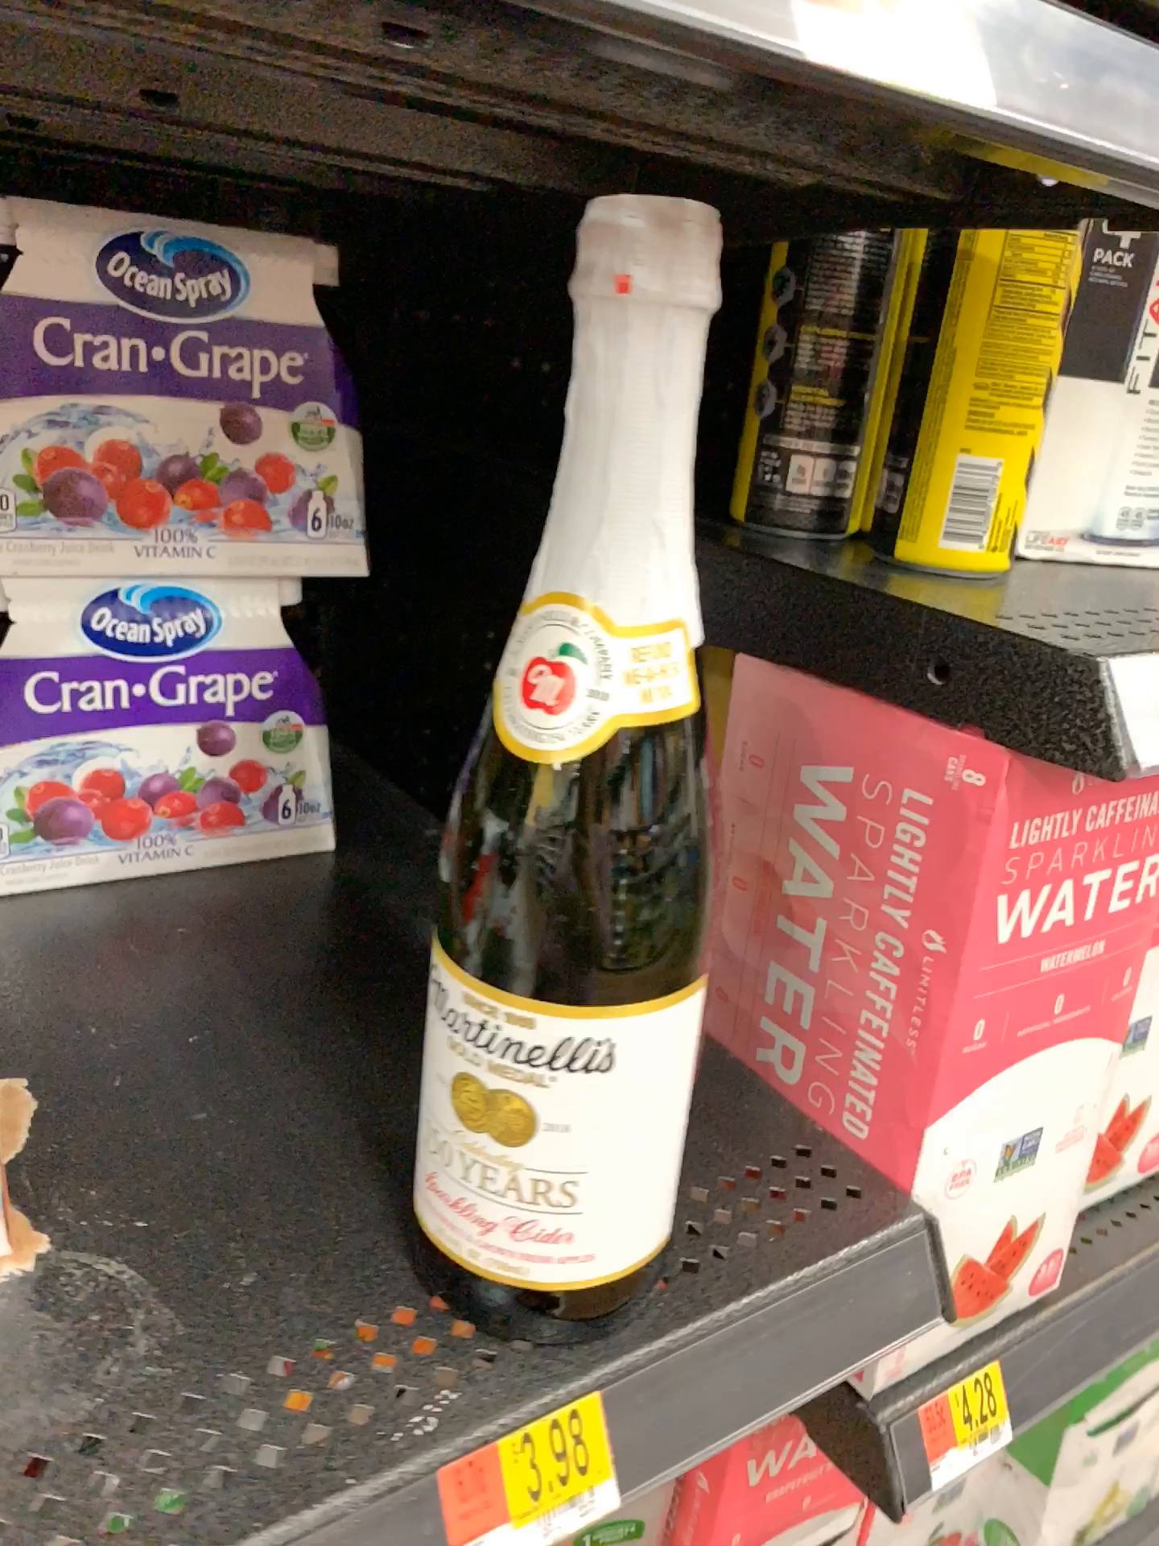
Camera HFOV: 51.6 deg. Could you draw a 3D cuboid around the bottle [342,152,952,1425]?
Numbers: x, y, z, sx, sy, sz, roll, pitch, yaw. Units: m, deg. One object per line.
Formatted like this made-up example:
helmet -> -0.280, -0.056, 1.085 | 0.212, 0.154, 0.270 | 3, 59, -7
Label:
bottle -> 0.009, 0.009, 0.321 | 0.089, 0.299, 0.090 | 7, 21, -2
